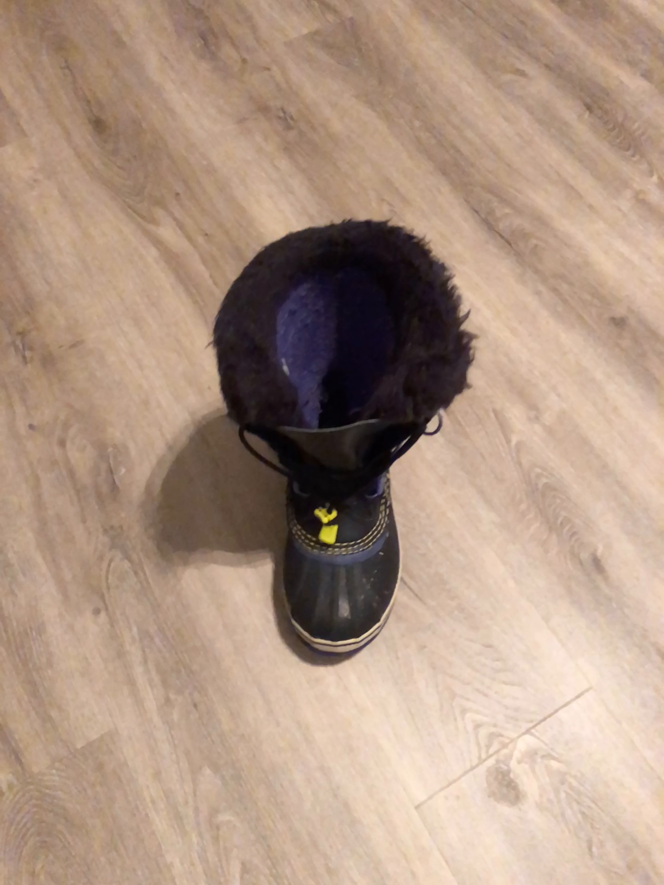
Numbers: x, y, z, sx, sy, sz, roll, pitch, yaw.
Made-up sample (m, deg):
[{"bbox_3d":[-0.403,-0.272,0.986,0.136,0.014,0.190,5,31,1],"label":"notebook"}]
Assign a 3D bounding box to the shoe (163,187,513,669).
[{"bbox_3d":[0.009,0.009,0.531,0.170,0.270,0.240,3,62,2],"label":"shoe"}]
